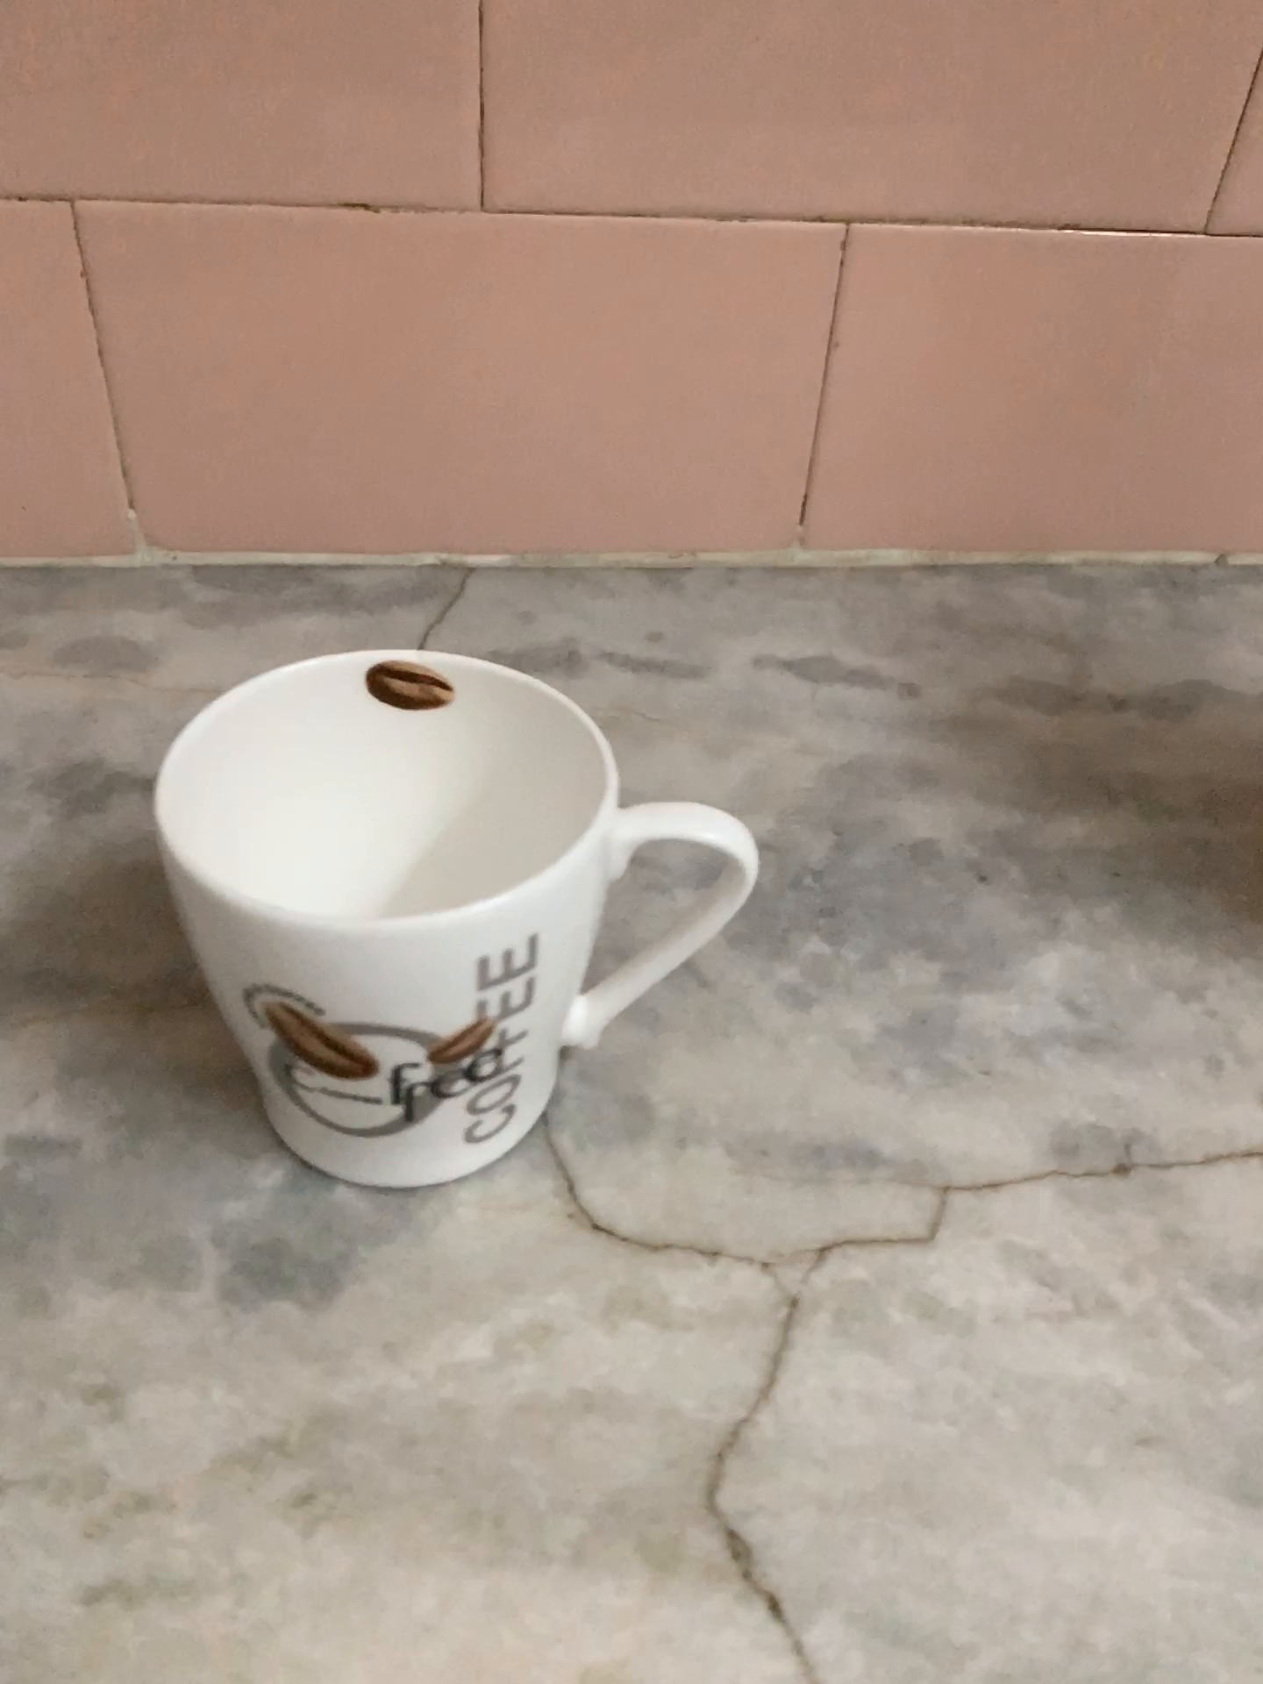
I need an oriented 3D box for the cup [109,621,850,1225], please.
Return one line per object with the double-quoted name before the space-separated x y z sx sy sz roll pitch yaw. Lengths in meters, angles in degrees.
"cup" -0.026 0.011 0.226 0.100 0.070 0.070 -3 40 -8
